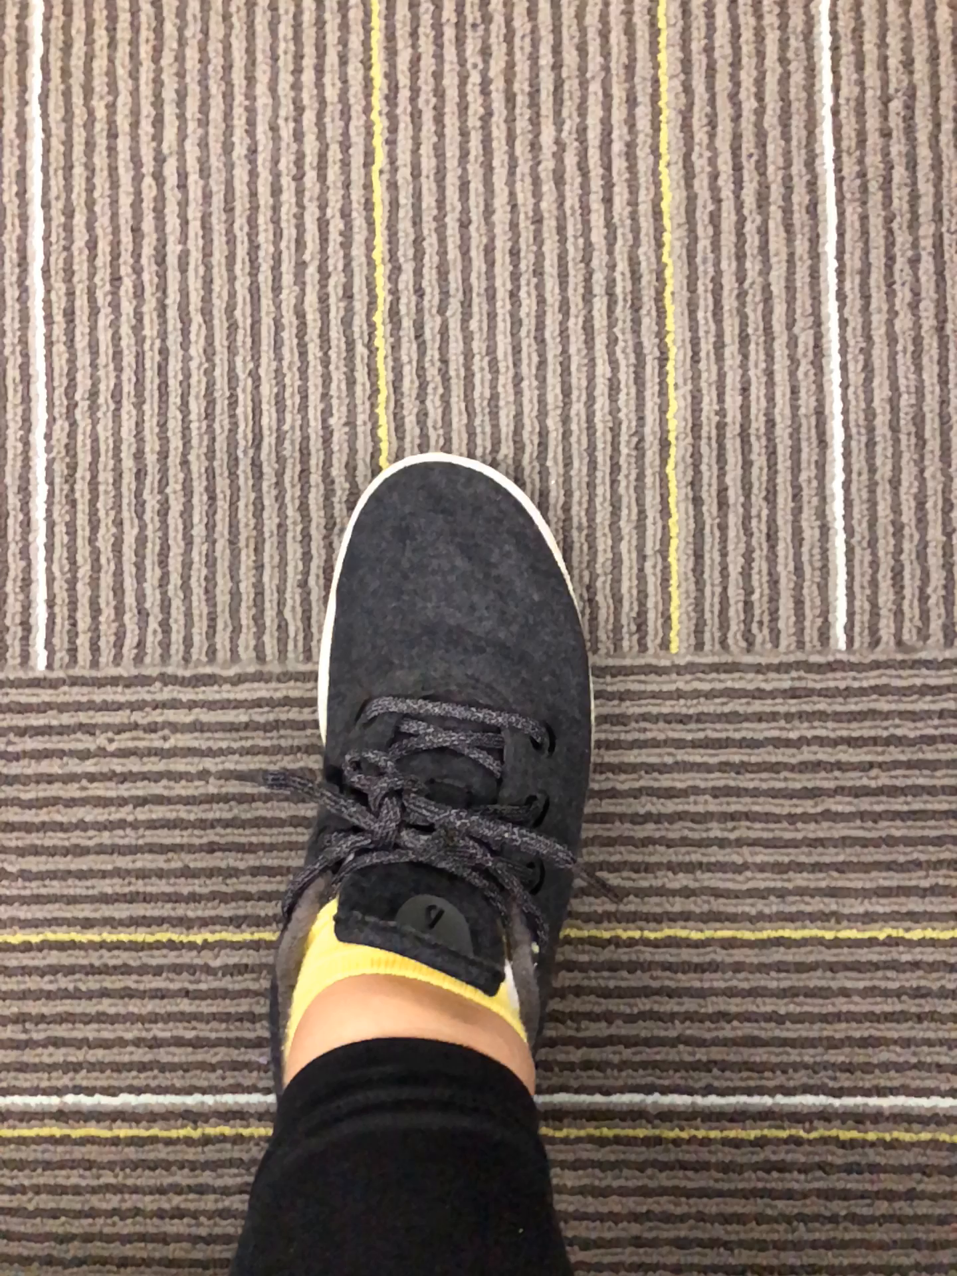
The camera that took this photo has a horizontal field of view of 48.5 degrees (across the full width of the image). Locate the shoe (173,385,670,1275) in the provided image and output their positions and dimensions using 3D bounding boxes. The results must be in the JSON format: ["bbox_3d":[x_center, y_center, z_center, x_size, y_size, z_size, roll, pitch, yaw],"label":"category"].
[{"bbox_3d":[-0.014,0.064,0.333,0.120,0.080,0.260,4,89,3],"label":"shoe"}]
